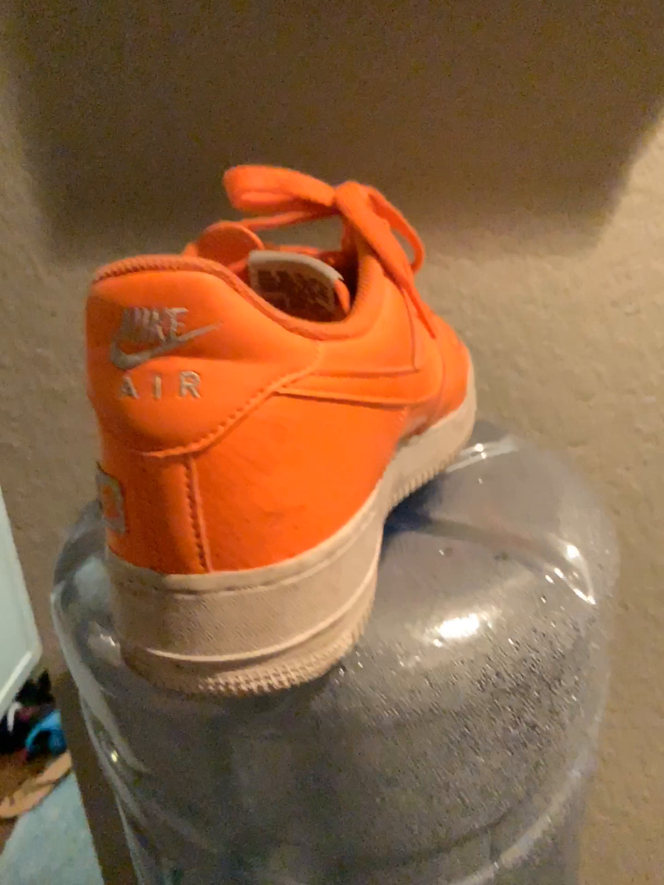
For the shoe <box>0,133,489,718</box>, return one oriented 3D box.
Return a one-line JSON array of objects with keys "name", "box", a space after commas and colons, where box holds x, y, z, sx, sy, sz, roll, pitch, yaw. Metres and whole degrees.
[{"name": "shoe", "box": [0.000, -0.047, 0.320, 0.120, 0.140, 0.300, 0, 21, 14]}]
